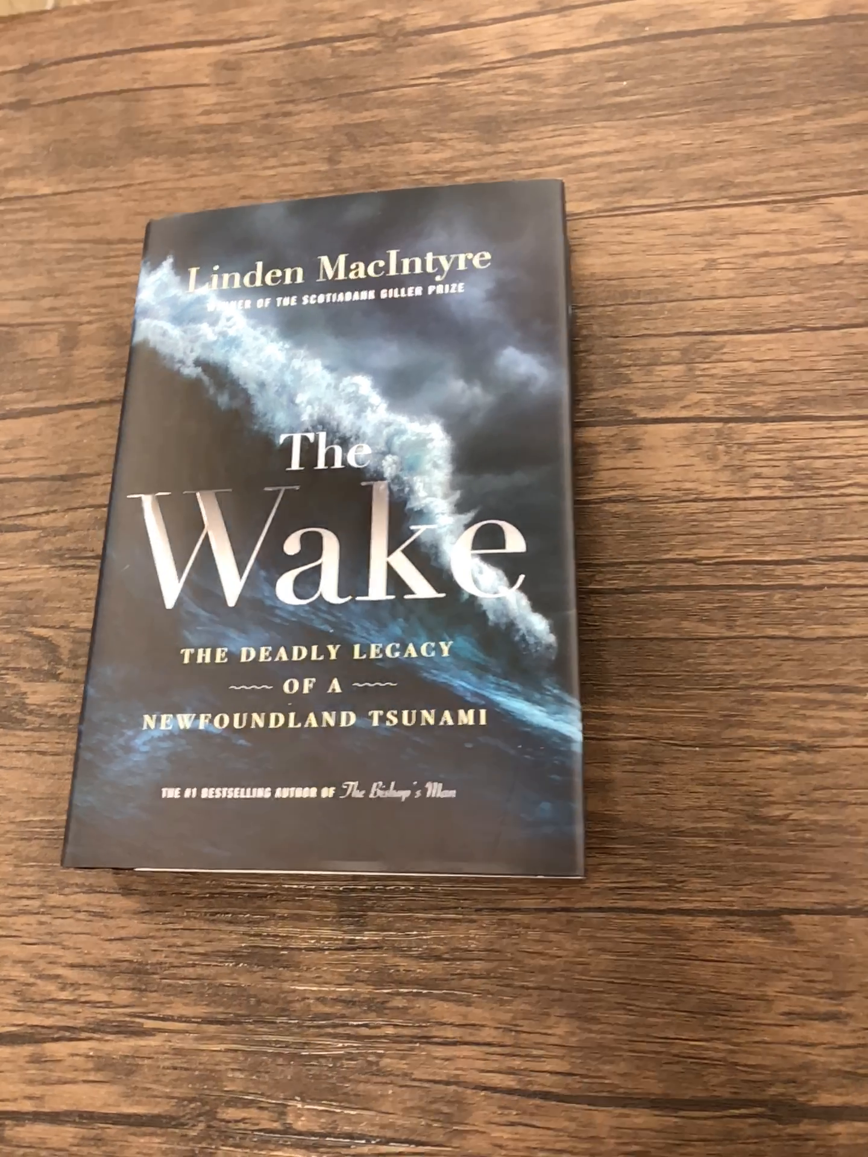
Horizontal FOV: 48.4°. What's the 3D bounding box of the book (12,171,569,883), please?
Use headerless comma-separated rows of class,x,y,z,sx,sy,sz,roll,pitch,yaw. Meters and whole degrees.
book,-0.037,-0.020,0.328,0.160,0.050,0.230,-1,72,9
